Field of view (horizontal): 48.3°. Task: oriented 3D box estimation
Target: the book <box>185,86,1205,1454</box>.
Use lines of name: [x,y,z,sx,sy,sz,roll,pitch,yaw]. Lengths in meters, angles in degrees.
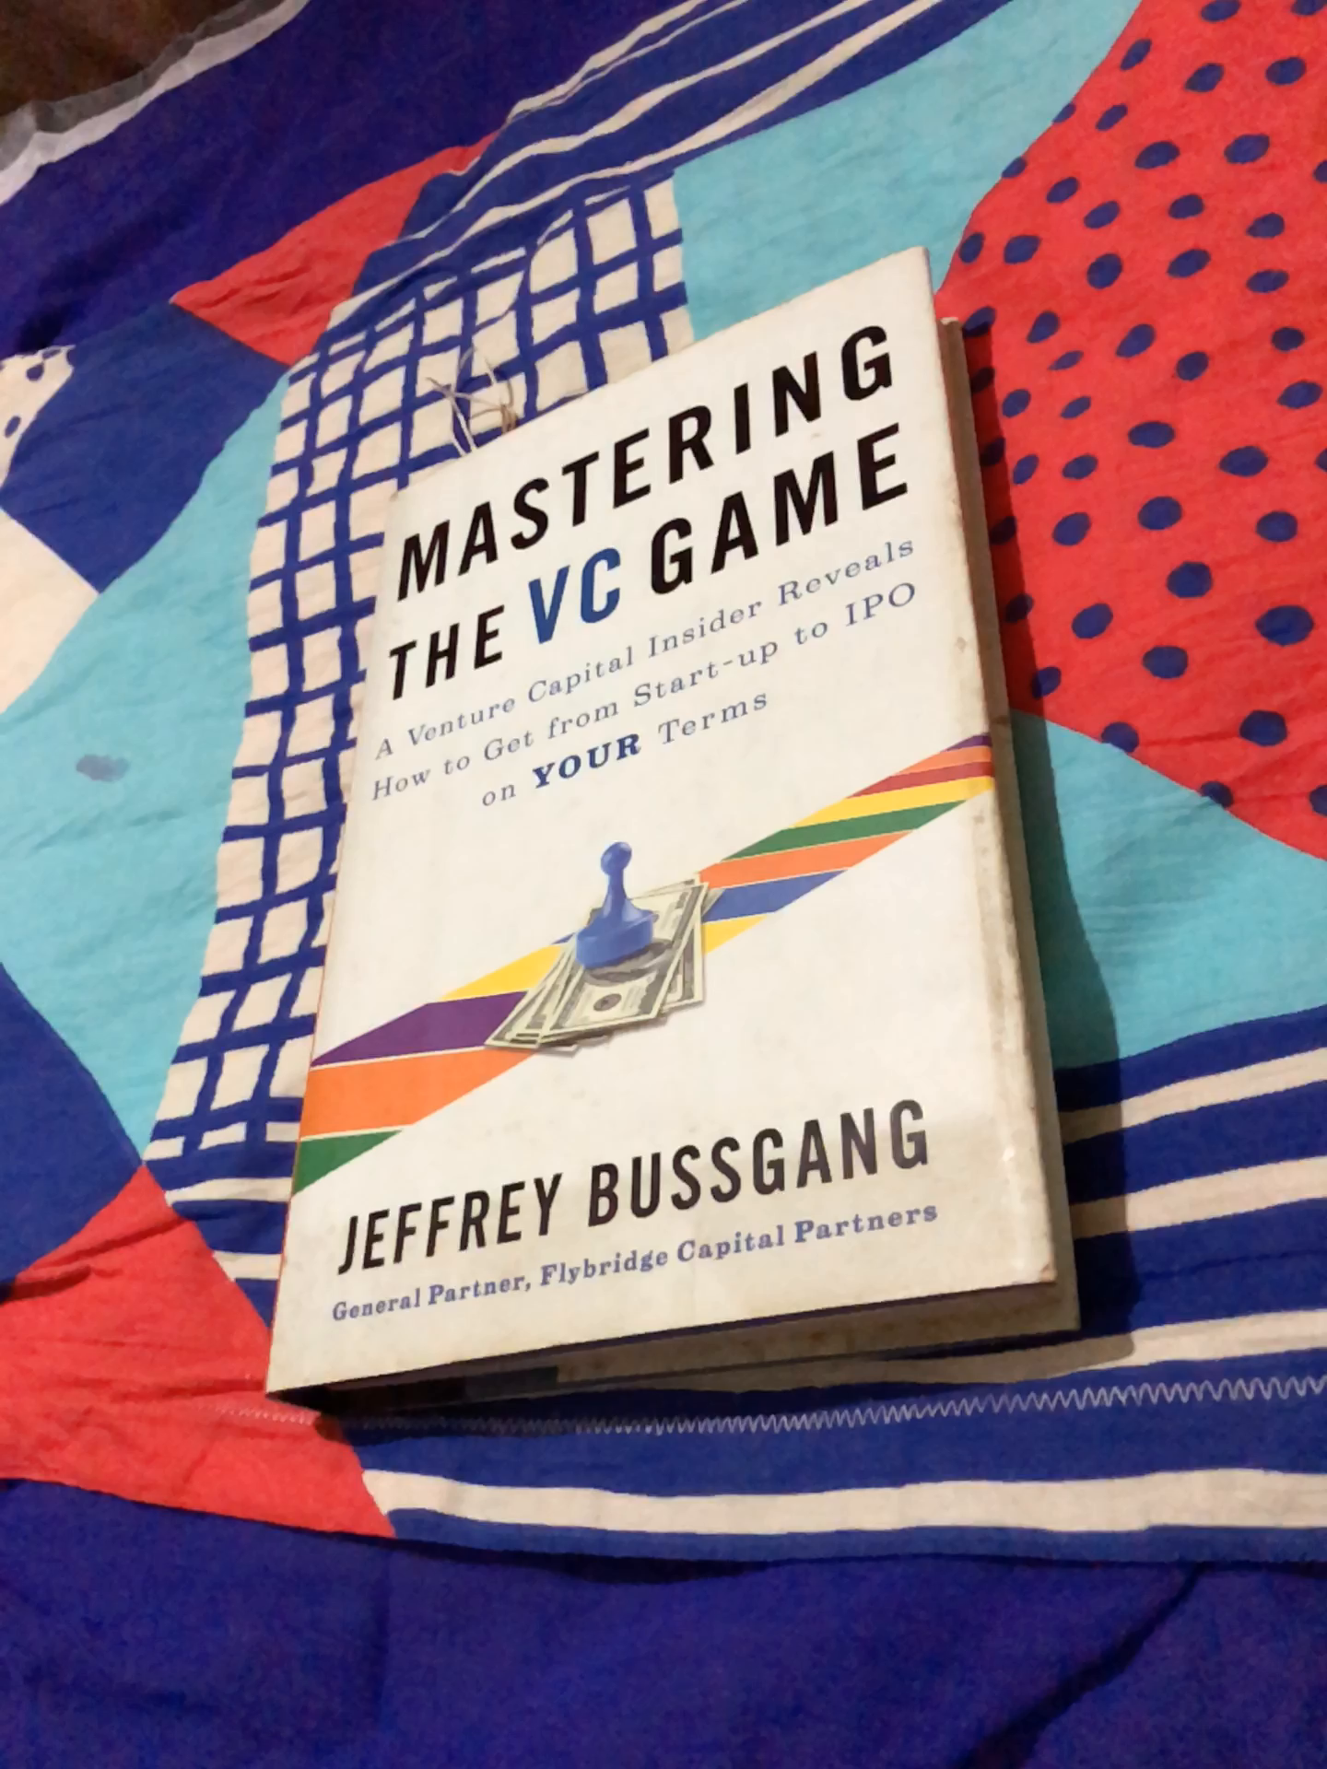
book: [-0.001,-0.031,0.333,0.180,0.050,0.280,-16,56,27]
